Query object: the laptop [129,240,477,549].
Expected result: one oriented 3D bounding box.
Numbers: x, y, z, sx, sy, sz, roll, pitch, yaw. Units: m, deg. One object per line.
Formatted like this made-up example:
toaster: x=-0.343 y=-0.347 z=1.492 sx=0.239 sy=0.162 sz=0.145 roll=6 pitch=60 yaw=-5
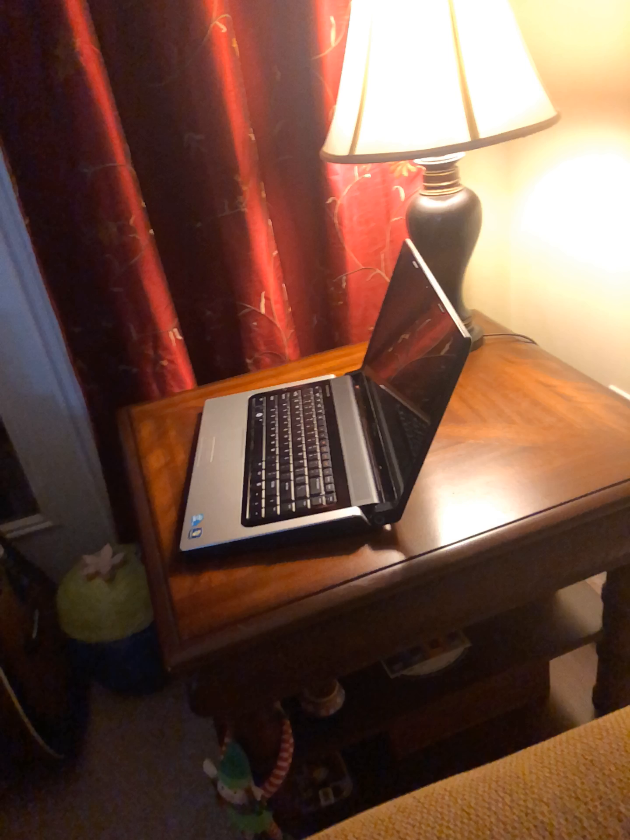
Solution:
laptop: x=-0.011 y=-0.057 z=0.909 sx=0.350 sy=0.204 sz=0.364 roll=-9 pitch=30 yaw=1
